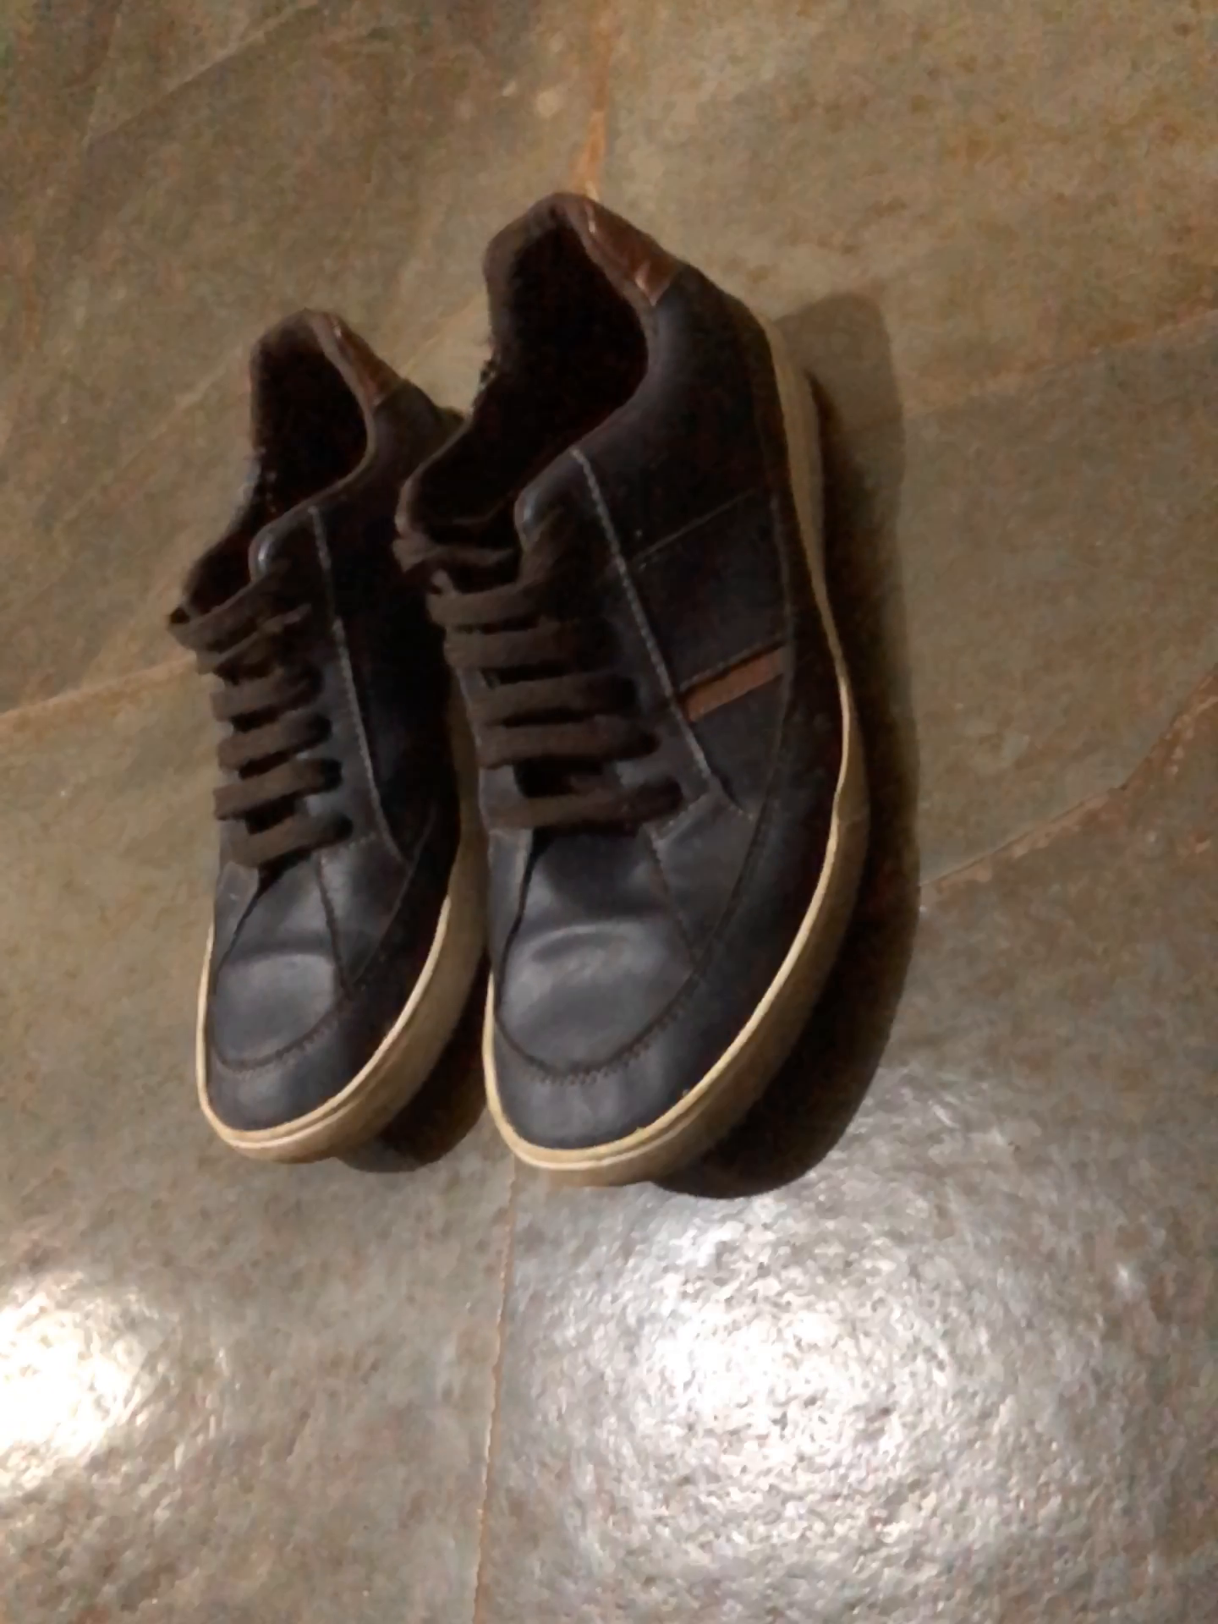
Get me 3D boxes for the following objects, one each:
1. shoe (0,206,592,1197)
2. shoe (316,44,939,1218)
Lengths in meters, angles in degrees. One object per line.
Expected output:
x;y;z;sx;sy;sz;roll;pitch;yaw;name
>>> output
-0.093;-0.030;0.442;0.120;0.100;0.291;-10;64;32;shoe
0.012;-0.045;0.373;0.110;0.100;0.291;-12;63;31;shoe
